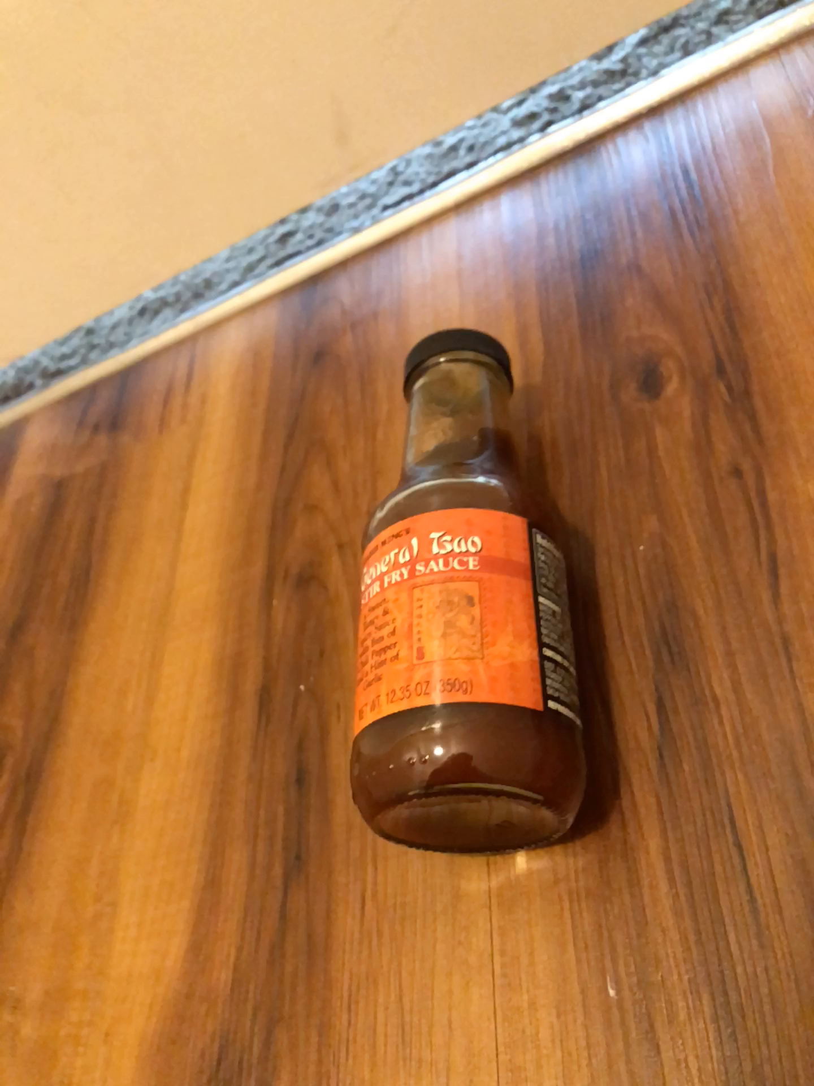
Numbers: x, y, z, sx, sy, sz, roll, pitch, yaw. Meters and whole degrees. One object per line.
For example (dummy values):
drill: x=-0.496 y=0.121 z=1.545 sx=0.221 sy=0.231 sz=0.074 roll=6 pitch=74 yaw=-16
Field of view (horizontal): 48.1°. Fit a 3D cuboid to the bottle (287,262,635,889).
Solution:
bottle: x=0.016 y=0.005 z=0.289 sx=0.069 sy=0.060 sz=0.180 roll=-21 pitch=48 yaw=28
